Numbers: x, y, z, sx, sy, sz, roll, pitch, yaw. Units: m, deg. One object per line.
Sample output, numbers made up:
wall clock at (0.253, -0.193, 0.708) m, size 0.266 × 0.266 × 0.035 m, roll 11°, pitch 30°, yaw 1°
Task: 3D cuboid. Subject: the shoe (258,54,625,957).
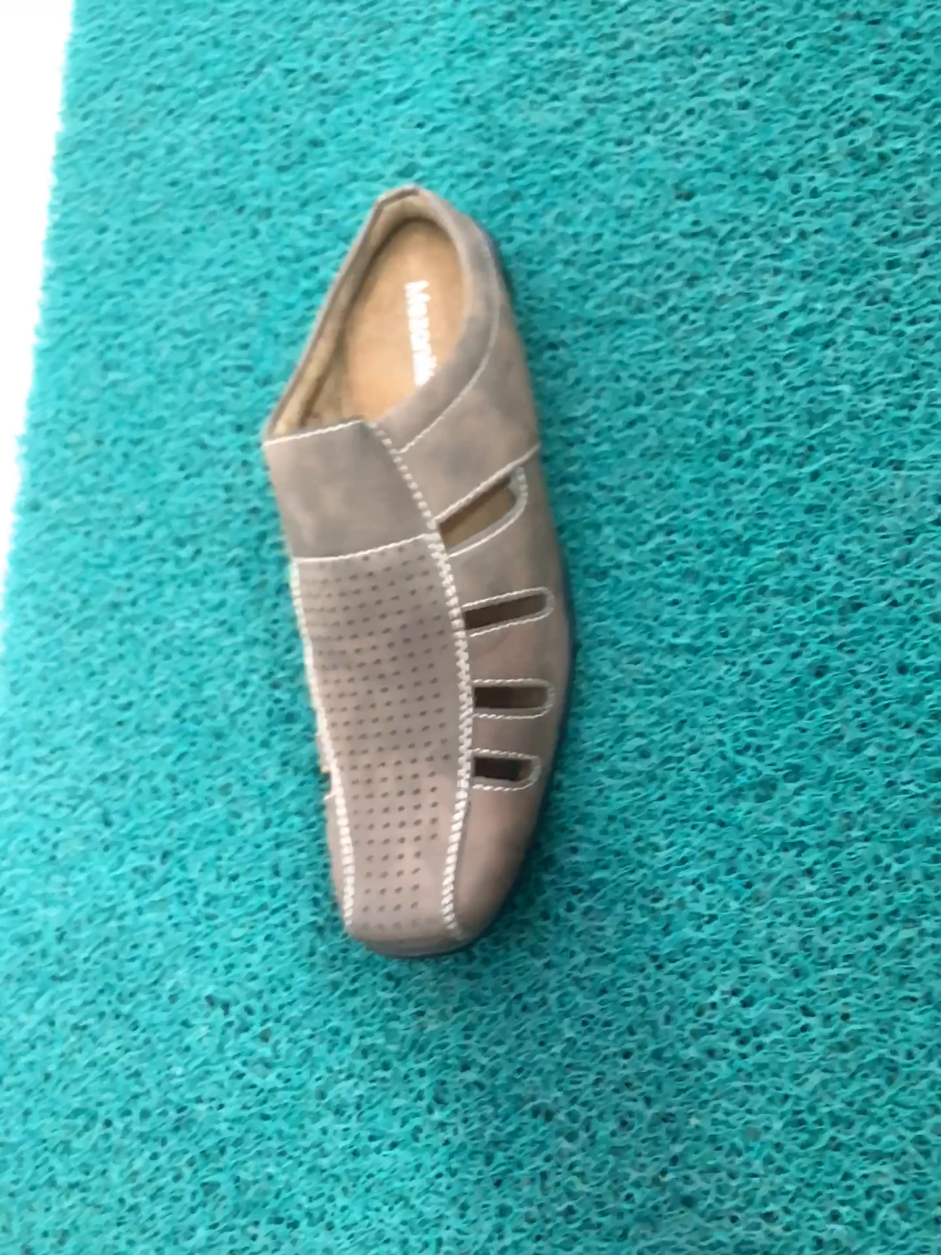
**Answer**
shoe at (-0.015, -0.040, 0.369) m, size 0.090 × 0.070 × 0.290 m, roll -11°, pitch 74°, yaw 25°
